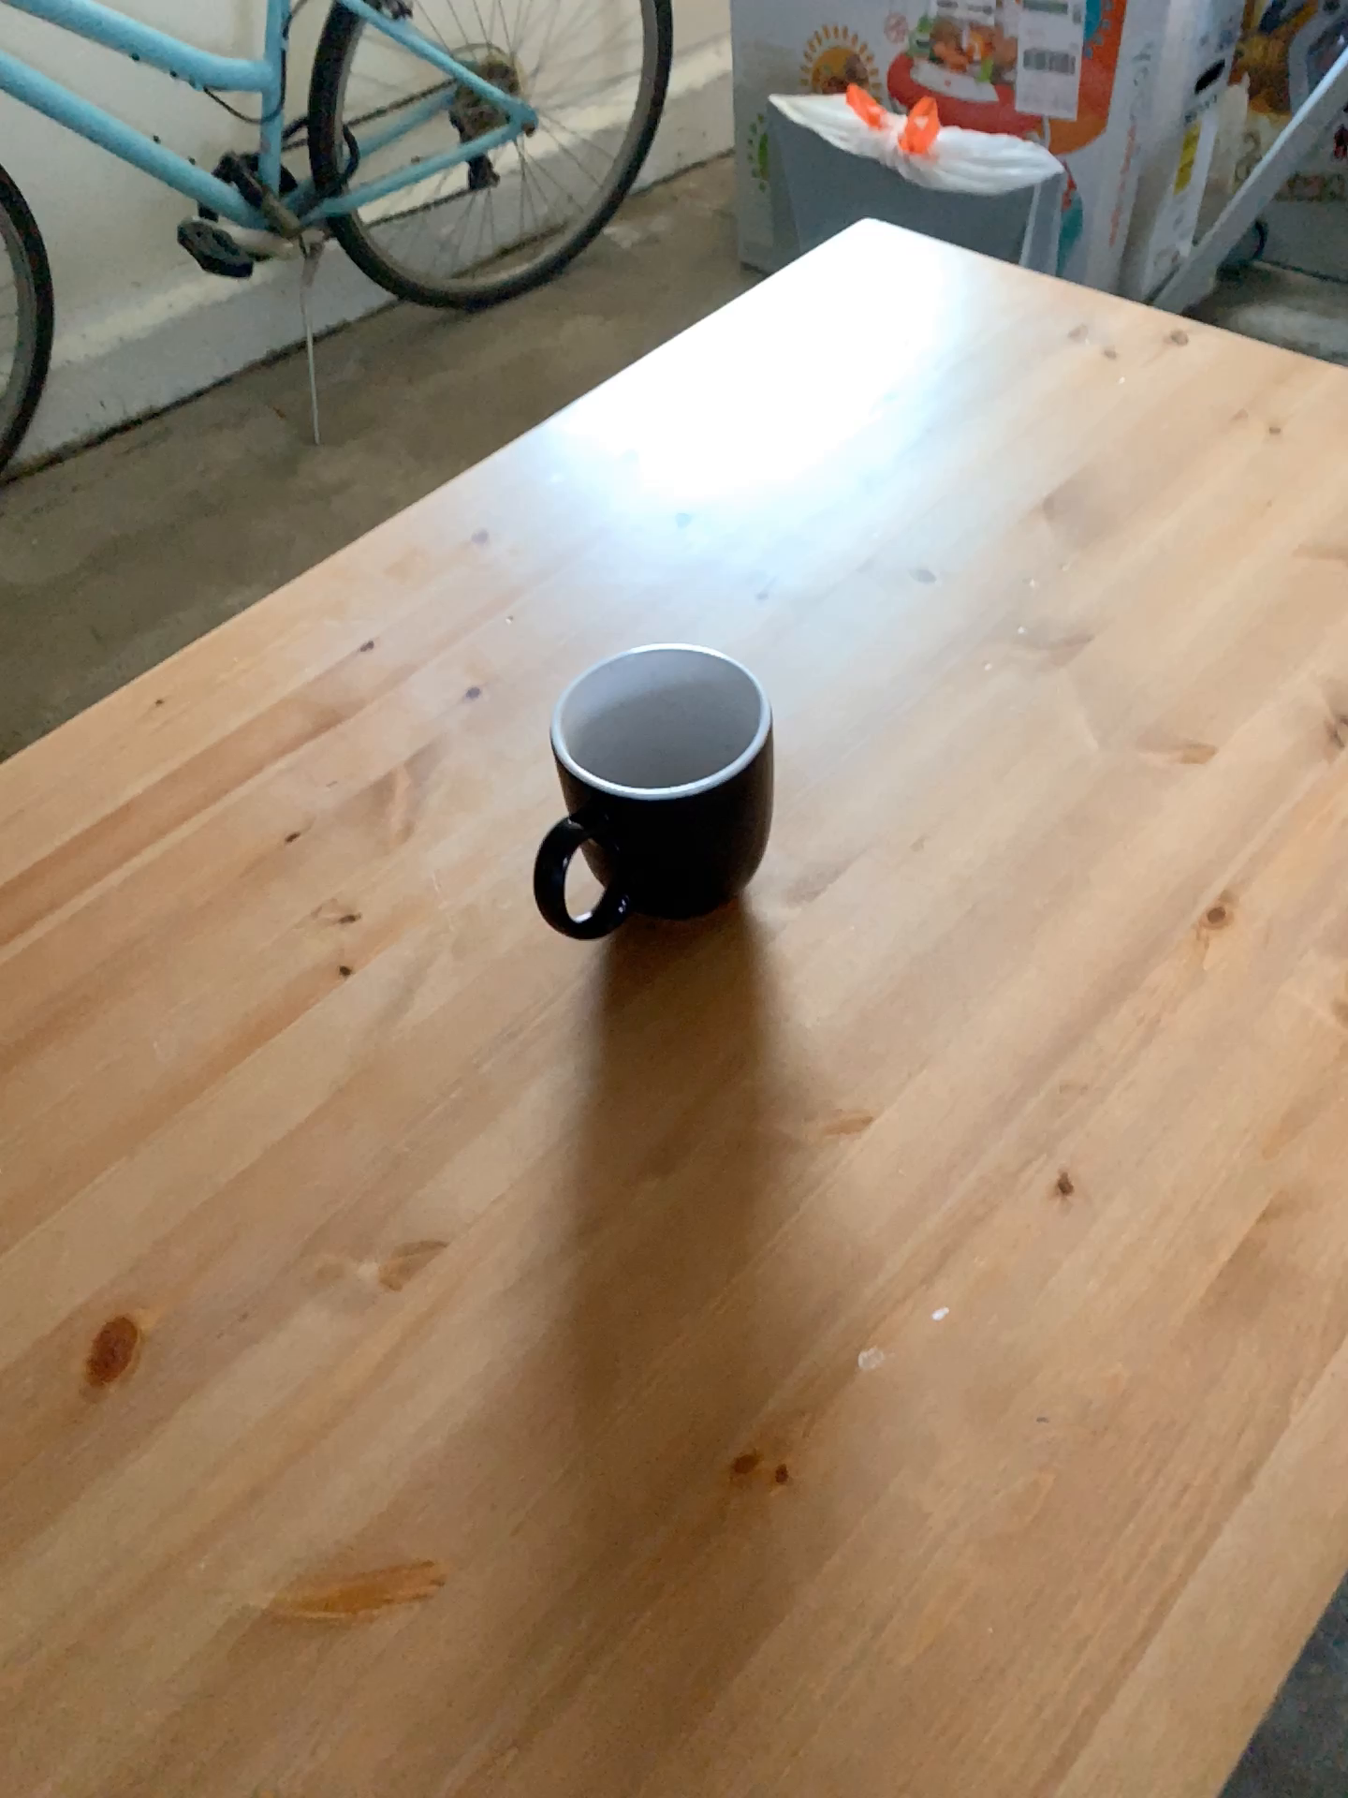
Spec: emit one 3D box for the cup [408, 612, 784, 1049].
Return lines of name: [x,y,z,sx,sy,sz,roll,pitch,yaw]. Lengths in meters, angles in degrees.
cup: [-0.028,-0.033,0.635,0.100,0.110,0.140,24,57,22]
